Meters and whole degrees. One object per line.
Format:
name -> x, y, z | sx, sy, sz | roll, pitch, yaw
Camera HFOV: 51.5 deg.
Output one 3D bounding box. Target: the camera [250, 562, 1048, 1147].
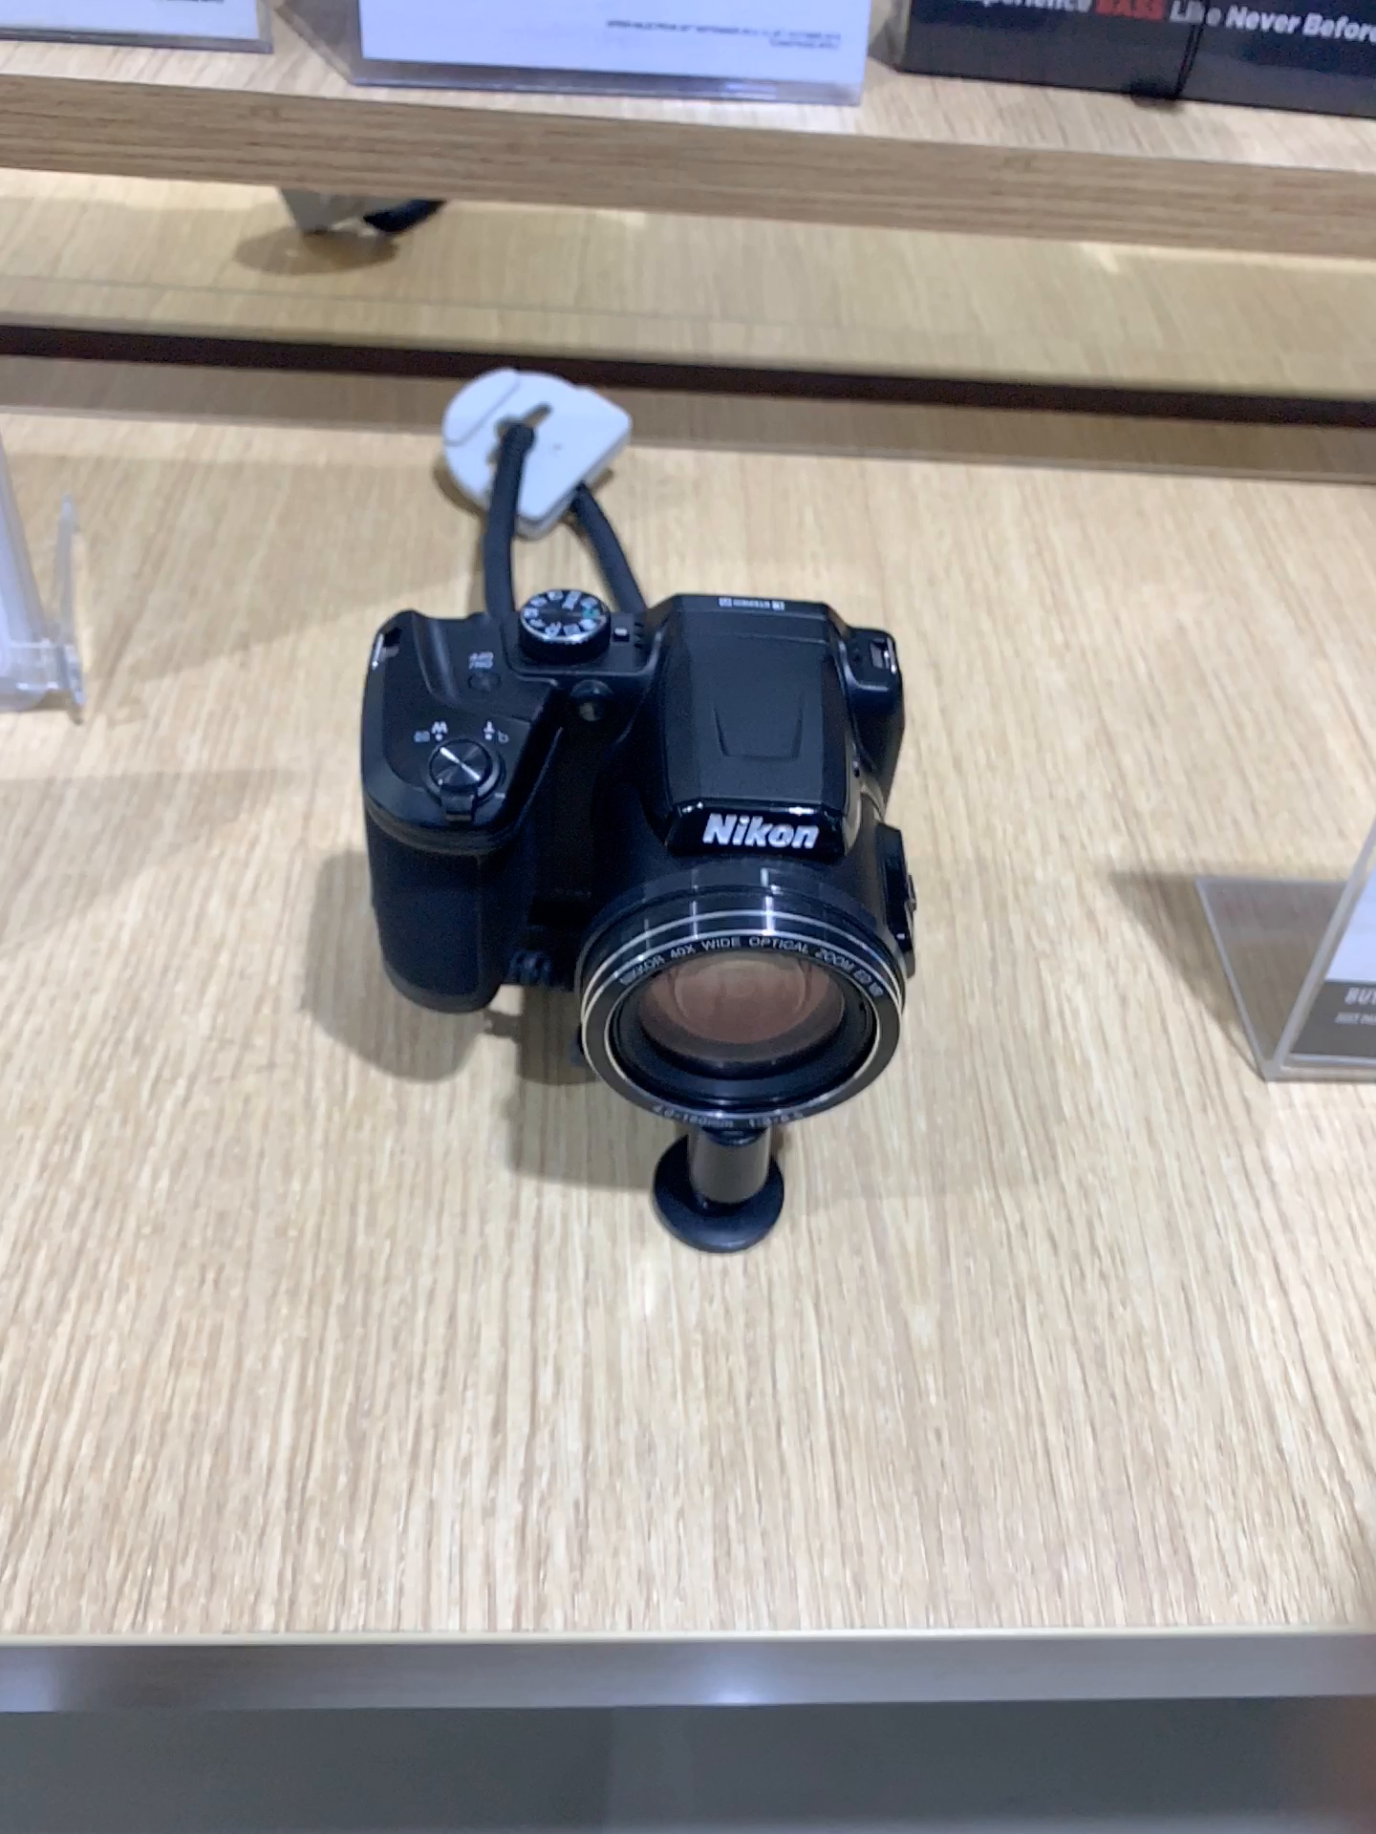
camera -> -0.008, -0.011, 0.267 | 0.120, 0.070, 0.080 | 1, 49, -4
